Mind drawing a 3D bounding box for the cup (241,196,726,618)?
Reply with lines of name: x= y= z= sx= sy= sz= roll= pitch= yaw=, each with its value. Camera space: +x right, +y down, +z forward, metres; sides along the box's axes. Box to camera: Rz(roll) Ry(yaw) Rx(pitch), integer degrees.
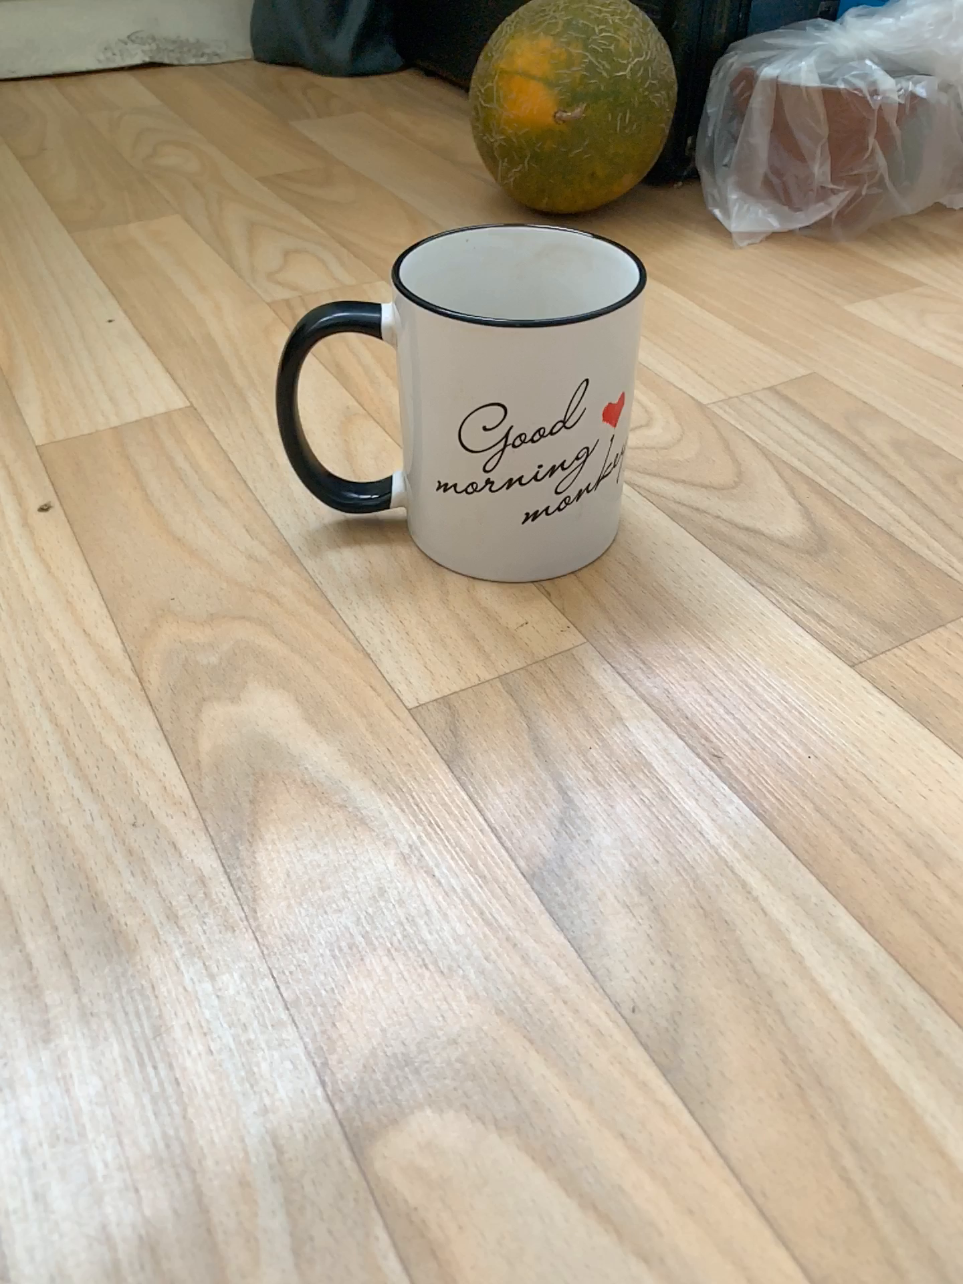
cup: x=-0.005 y=-0.080 z=0.332 sx=0.130 sy=0.100 sz=0.080 roll=-8 pitch=43 yaw=-12
